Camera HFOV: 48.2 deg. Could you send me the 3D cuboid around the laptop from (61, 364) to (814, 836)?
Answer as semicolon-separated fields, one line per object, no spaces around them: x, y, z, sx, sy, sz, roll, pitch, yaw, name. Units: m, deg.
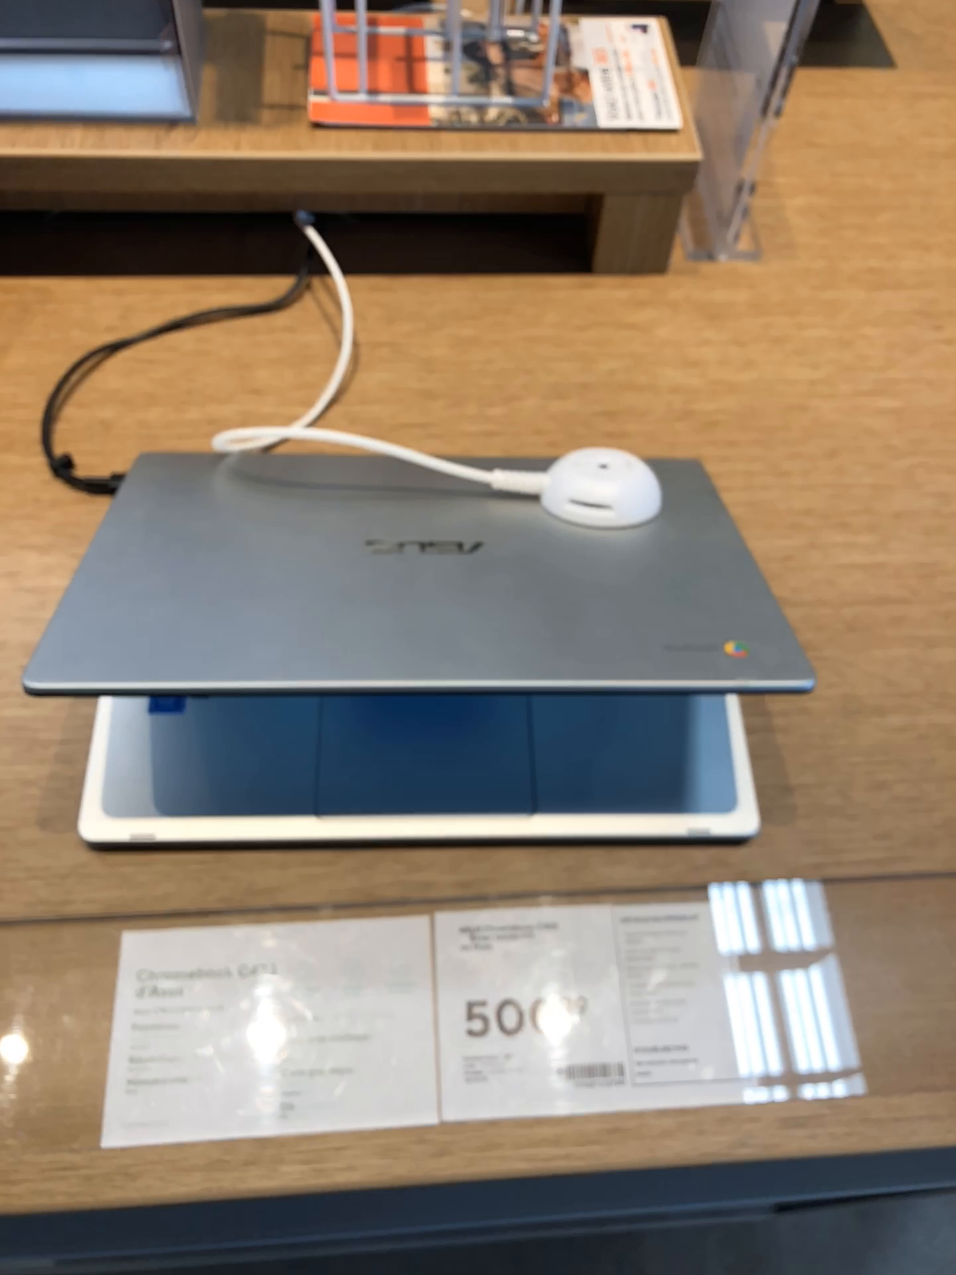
-0.016;-0.020;0.513;0.304;0.080;0.206;1;62;-5;laptop
